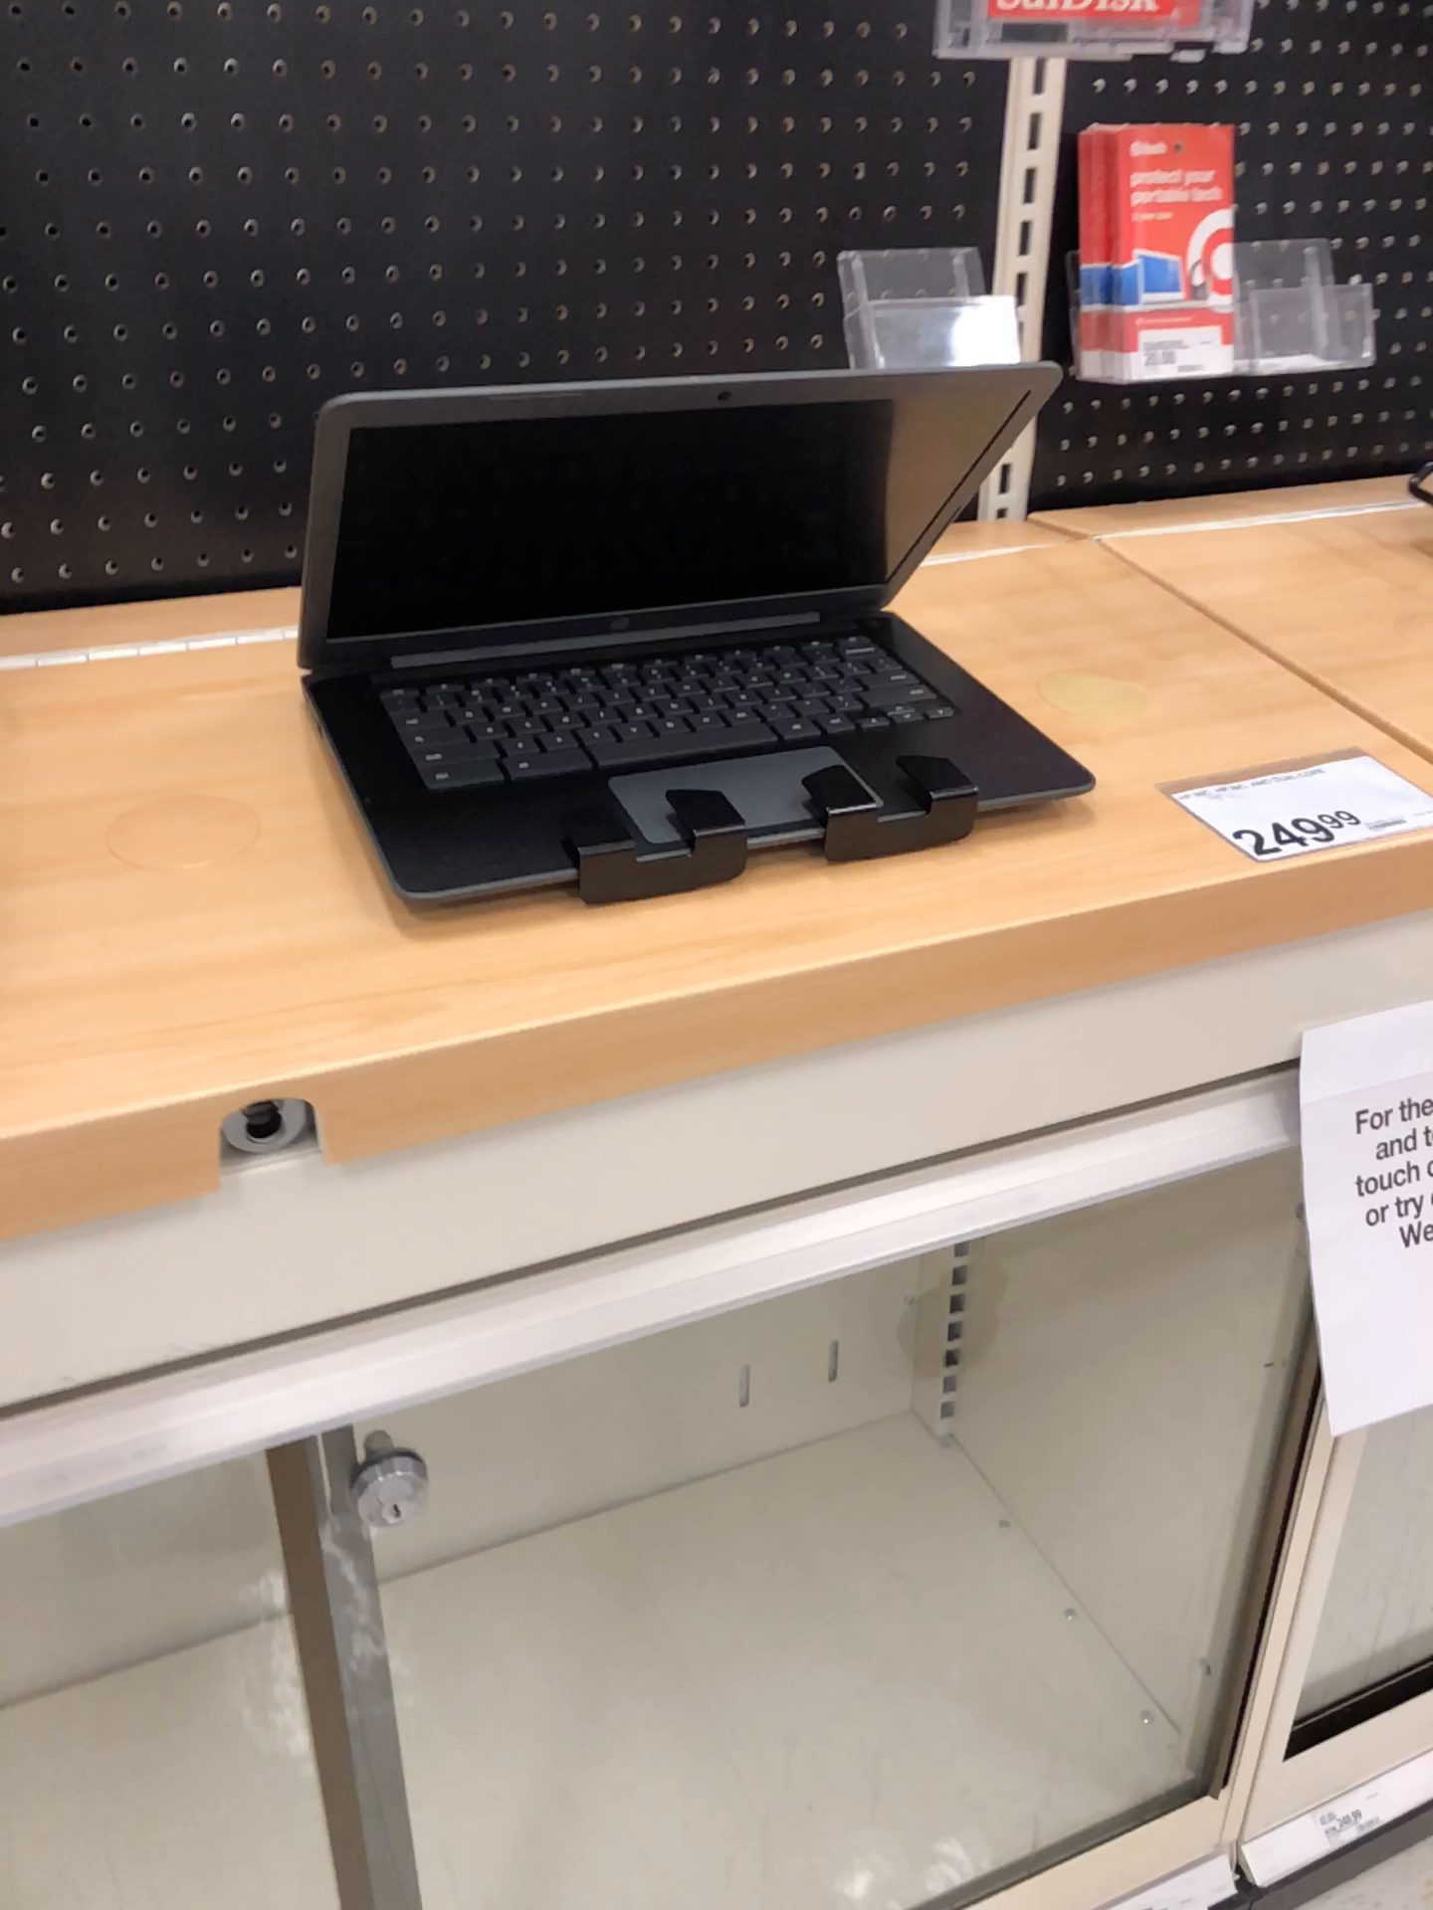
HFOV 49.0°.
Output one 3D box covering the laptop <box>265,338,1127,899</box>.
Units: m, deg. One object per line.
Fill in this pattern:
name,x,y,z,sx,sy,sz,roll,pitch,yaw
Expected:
laptop,-0.014,-0.169,0.705,0.319,0.144,0.201,-11,35,-21
